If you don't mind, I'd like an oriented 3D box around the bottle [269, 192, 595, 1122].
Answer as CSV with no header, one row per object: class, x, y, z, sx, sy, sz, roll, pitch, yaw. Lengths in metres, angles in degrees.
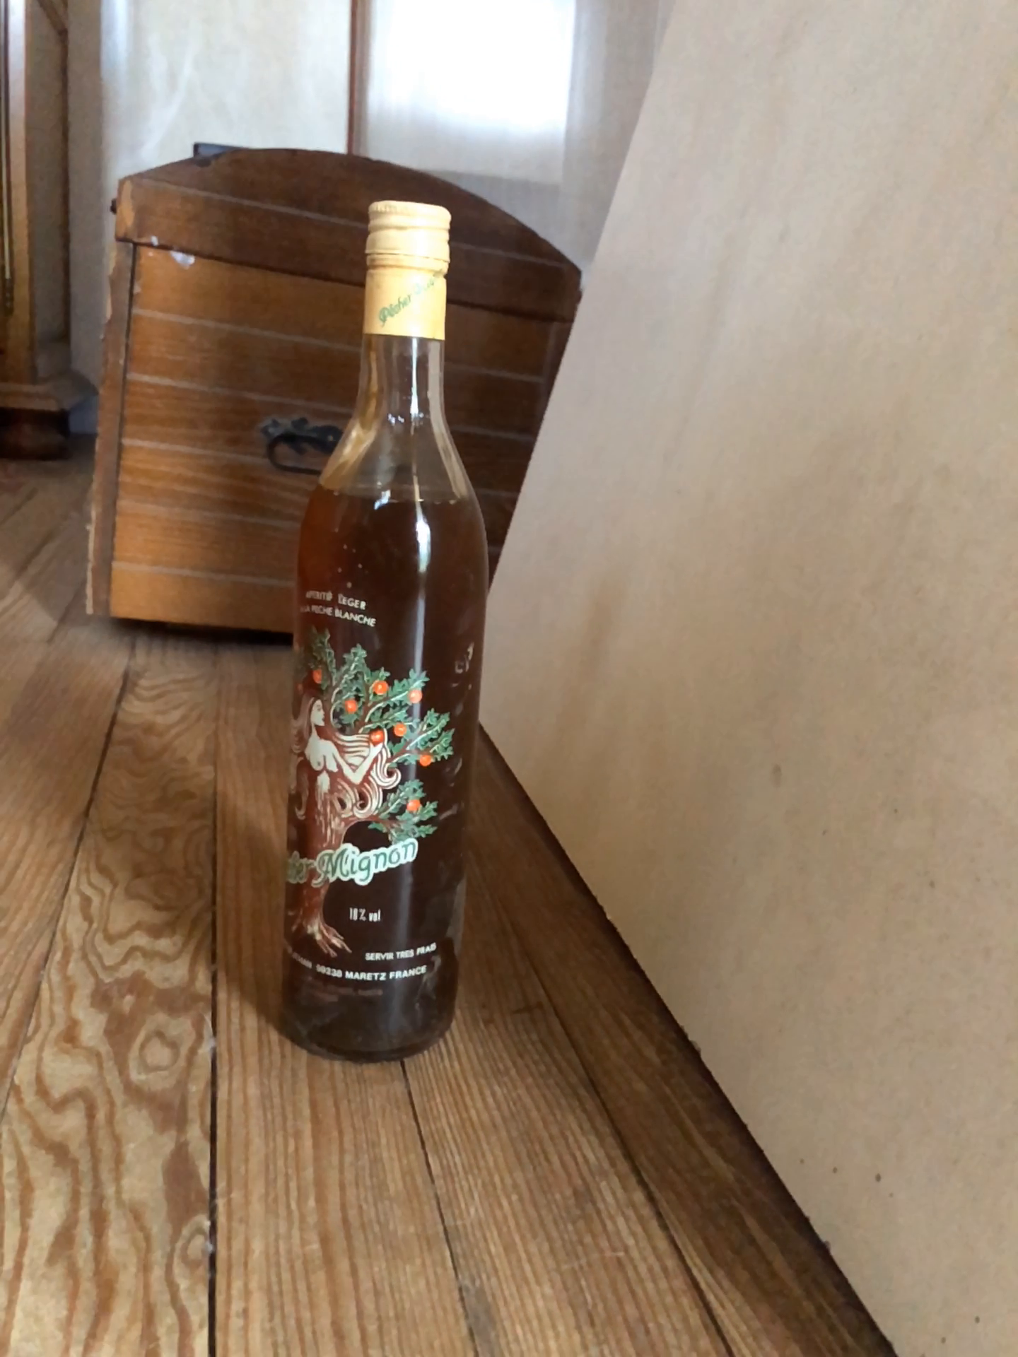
bottle,-0.034,-0.005,0.421,0.080,0.319,0.070,14,18,32
